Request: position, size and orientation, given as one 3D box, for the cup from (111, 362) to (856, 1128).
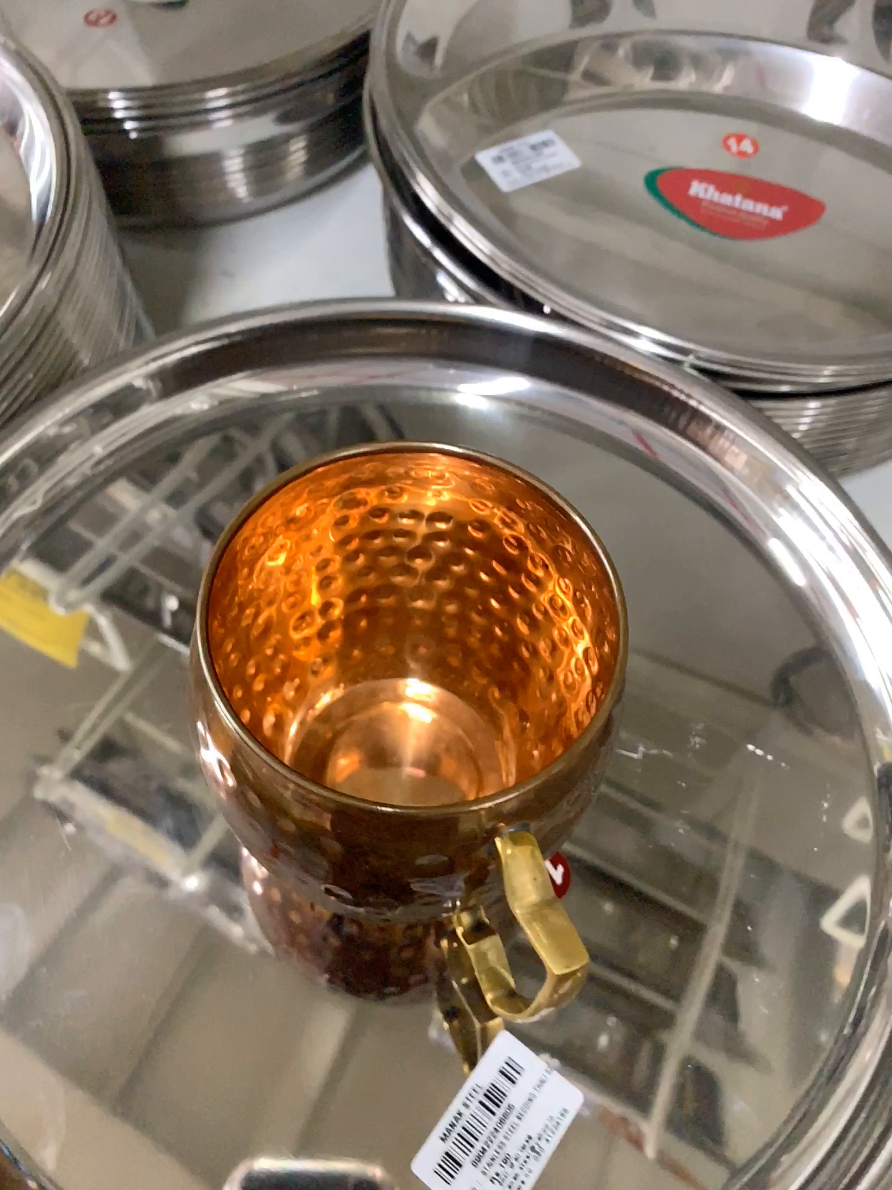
[{"bbox_3d":[-0.001,0.033,0.195,0.090,0.090,0.110,-18,63,-11],"label":"cup"}]
